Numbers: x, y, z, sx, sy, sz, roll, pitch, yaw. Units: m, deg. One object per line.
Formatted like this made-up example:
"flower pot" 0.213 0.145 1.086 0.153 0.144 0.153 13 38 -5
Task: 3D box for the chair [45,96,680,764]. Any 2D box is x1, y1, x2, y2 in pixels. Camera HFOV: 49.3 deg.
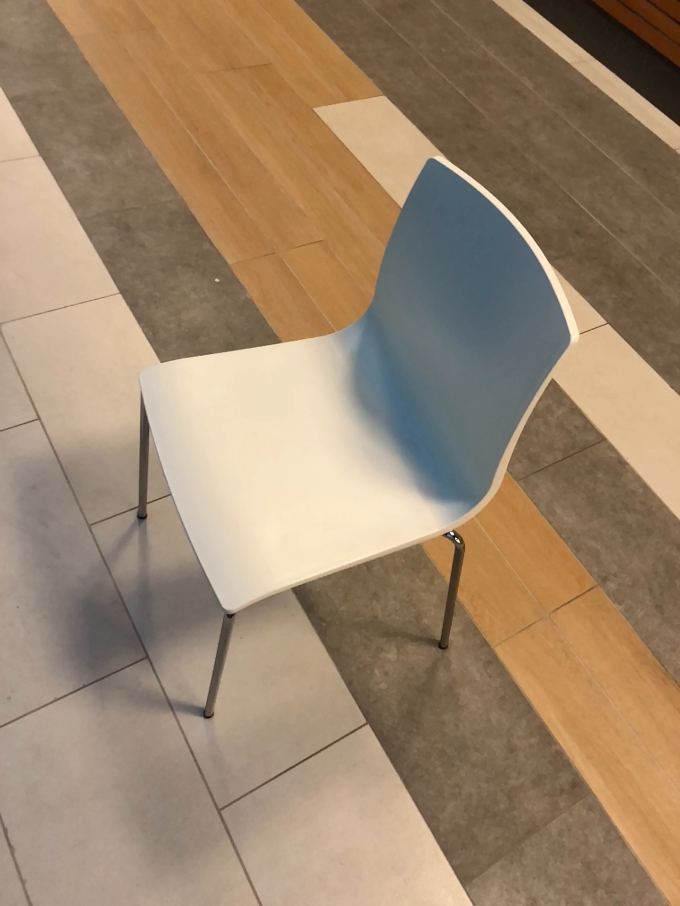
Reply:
"chair" -0.044 -0.004 1.164 0.551 0.776 0.582 -17 60 -22
